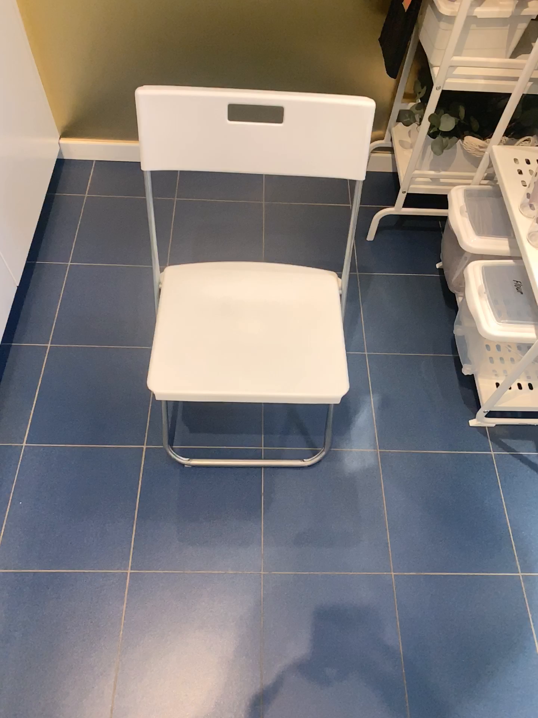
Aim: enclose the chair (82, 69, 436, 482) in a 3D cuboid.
[{"bbox_3d":[-0.023,-0.089,1.109,0.440,0.748,0.421,3,58,-2],"label":"chair"}]
